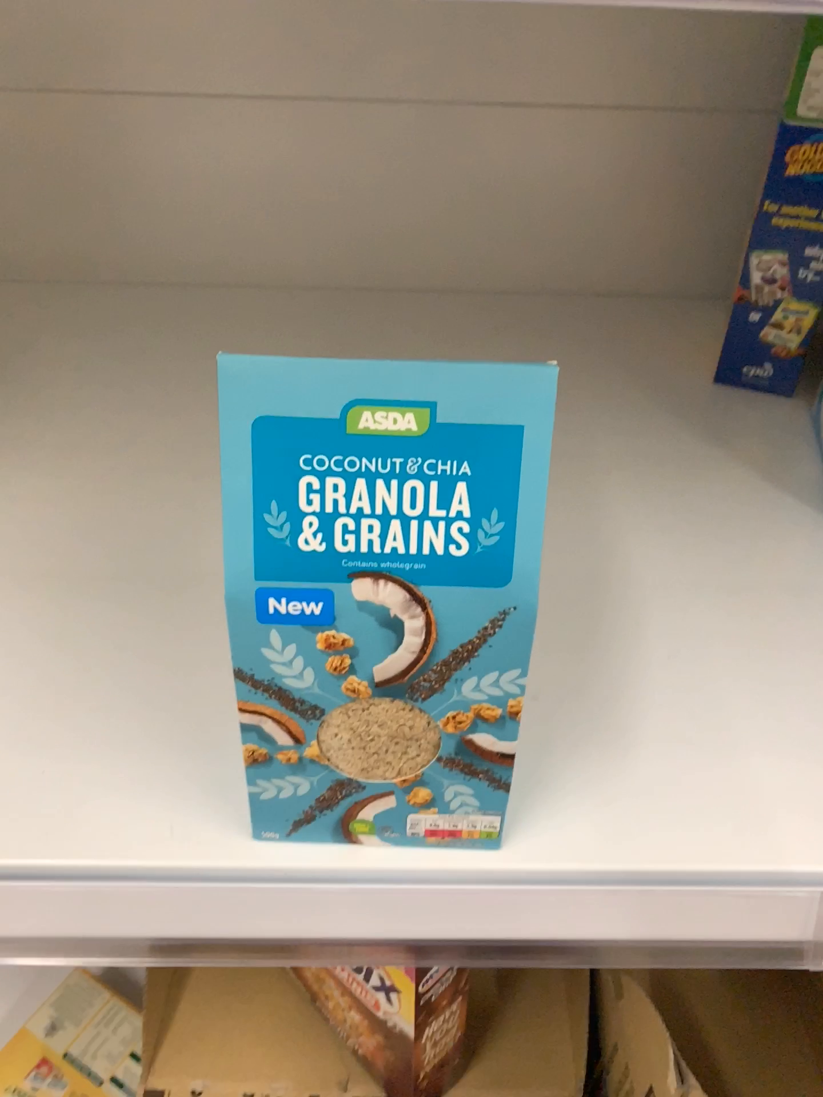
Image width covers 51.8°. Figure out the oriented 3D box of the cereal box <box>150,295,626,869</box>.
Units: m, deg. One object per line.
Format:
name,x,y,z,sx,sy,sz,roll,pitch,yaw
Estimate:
cereal box,-0.009,0.028,0.349,0.140,0.238,0.071,3,37,1
